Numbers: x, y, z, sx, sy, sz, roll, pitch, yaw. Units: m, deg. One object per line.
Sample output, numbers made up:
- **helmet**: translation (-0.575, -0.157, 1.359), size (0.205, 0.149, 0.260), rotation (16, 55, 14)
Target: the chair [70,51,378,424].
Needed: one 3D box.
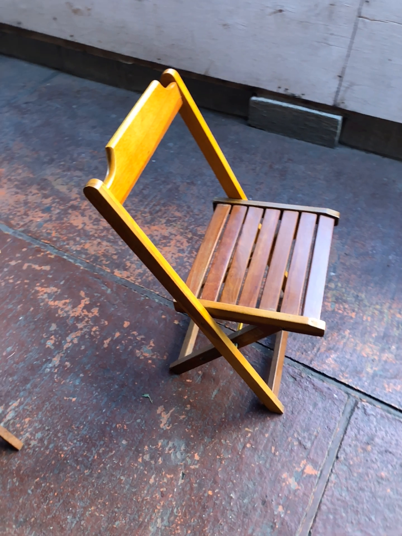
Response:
- **chair**: translation (0.082, -0.039, 1.078), size (0.470, 0.736, 0.453), rotation (10, 49, 10)
